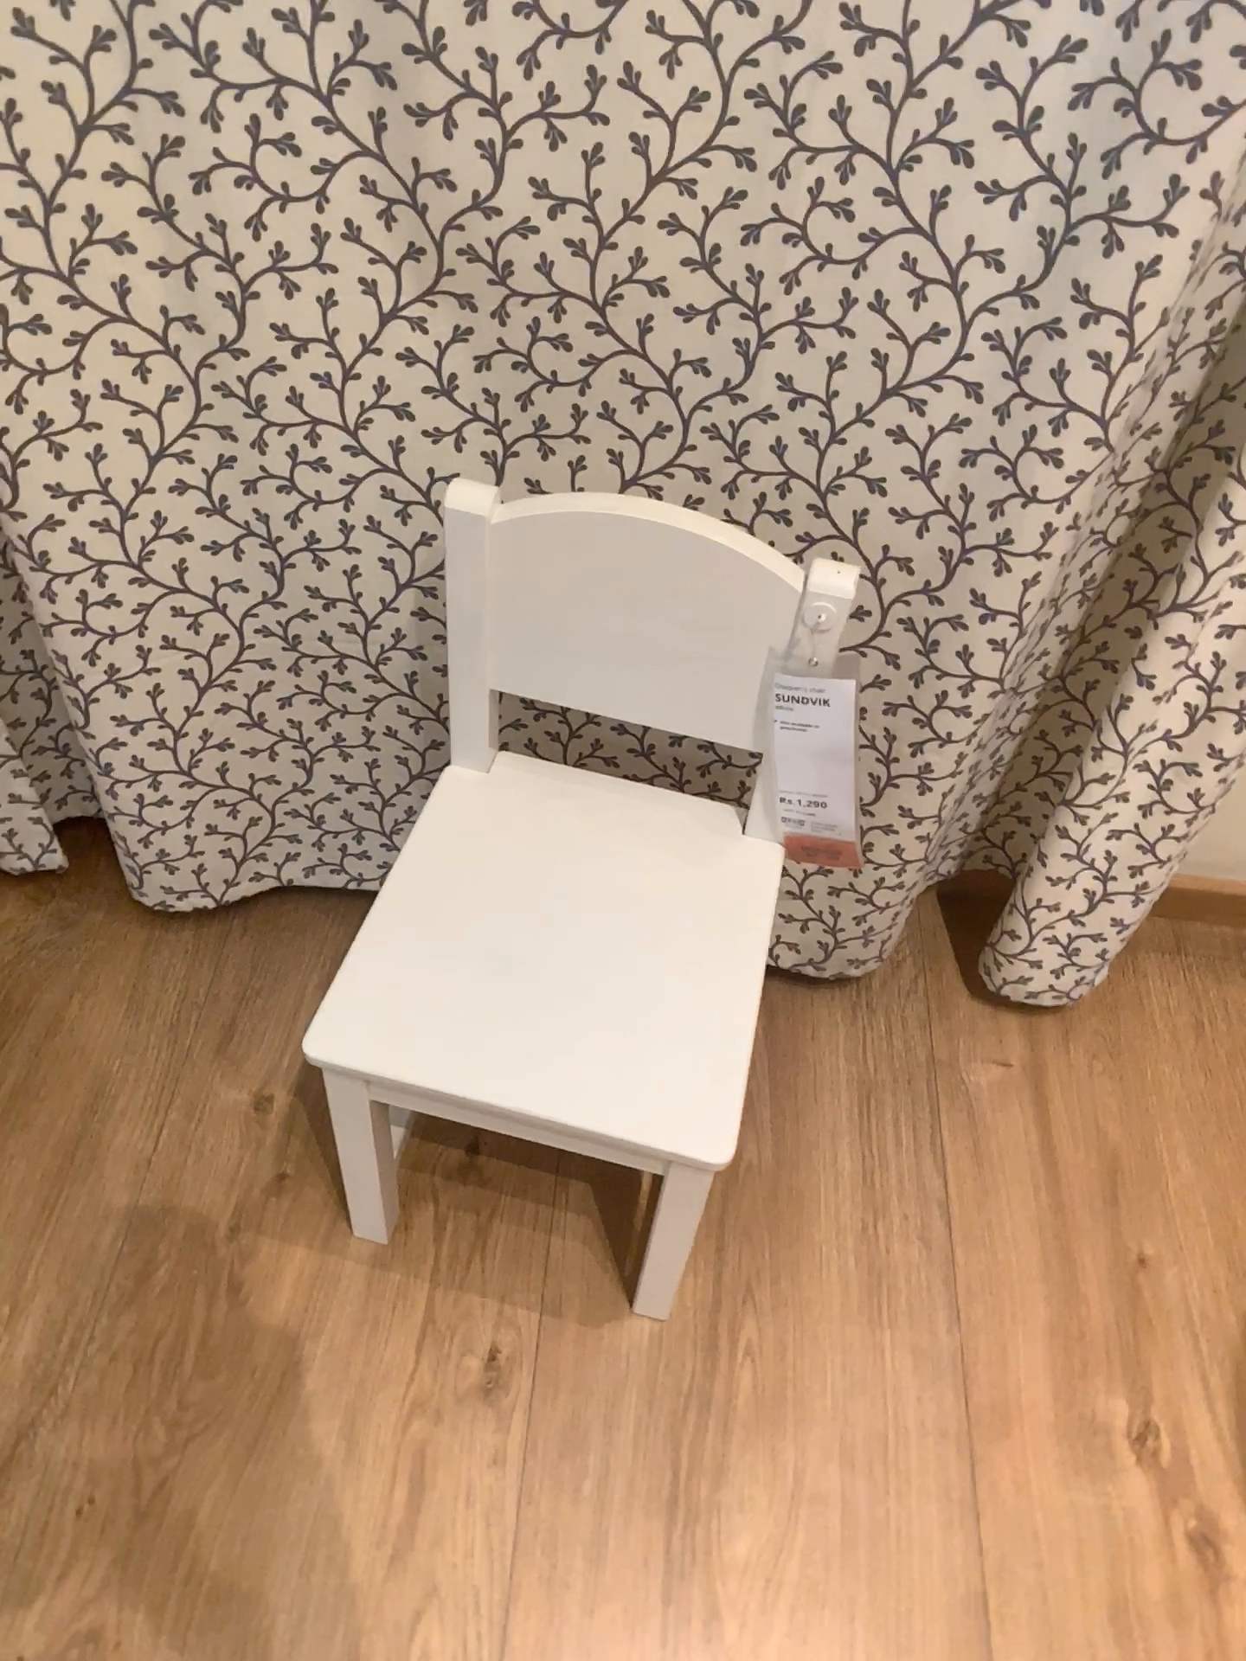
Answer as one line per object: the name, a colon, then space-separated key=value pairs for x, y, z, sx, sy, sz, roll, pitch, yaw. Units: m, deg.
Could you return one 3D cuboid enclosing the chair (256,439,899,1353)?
chair: x=-0.026 y=0.085 z=0.869 sx=0.270 sy=0.568 sz=0.291 roll=13 pitch=50 yaw=5
